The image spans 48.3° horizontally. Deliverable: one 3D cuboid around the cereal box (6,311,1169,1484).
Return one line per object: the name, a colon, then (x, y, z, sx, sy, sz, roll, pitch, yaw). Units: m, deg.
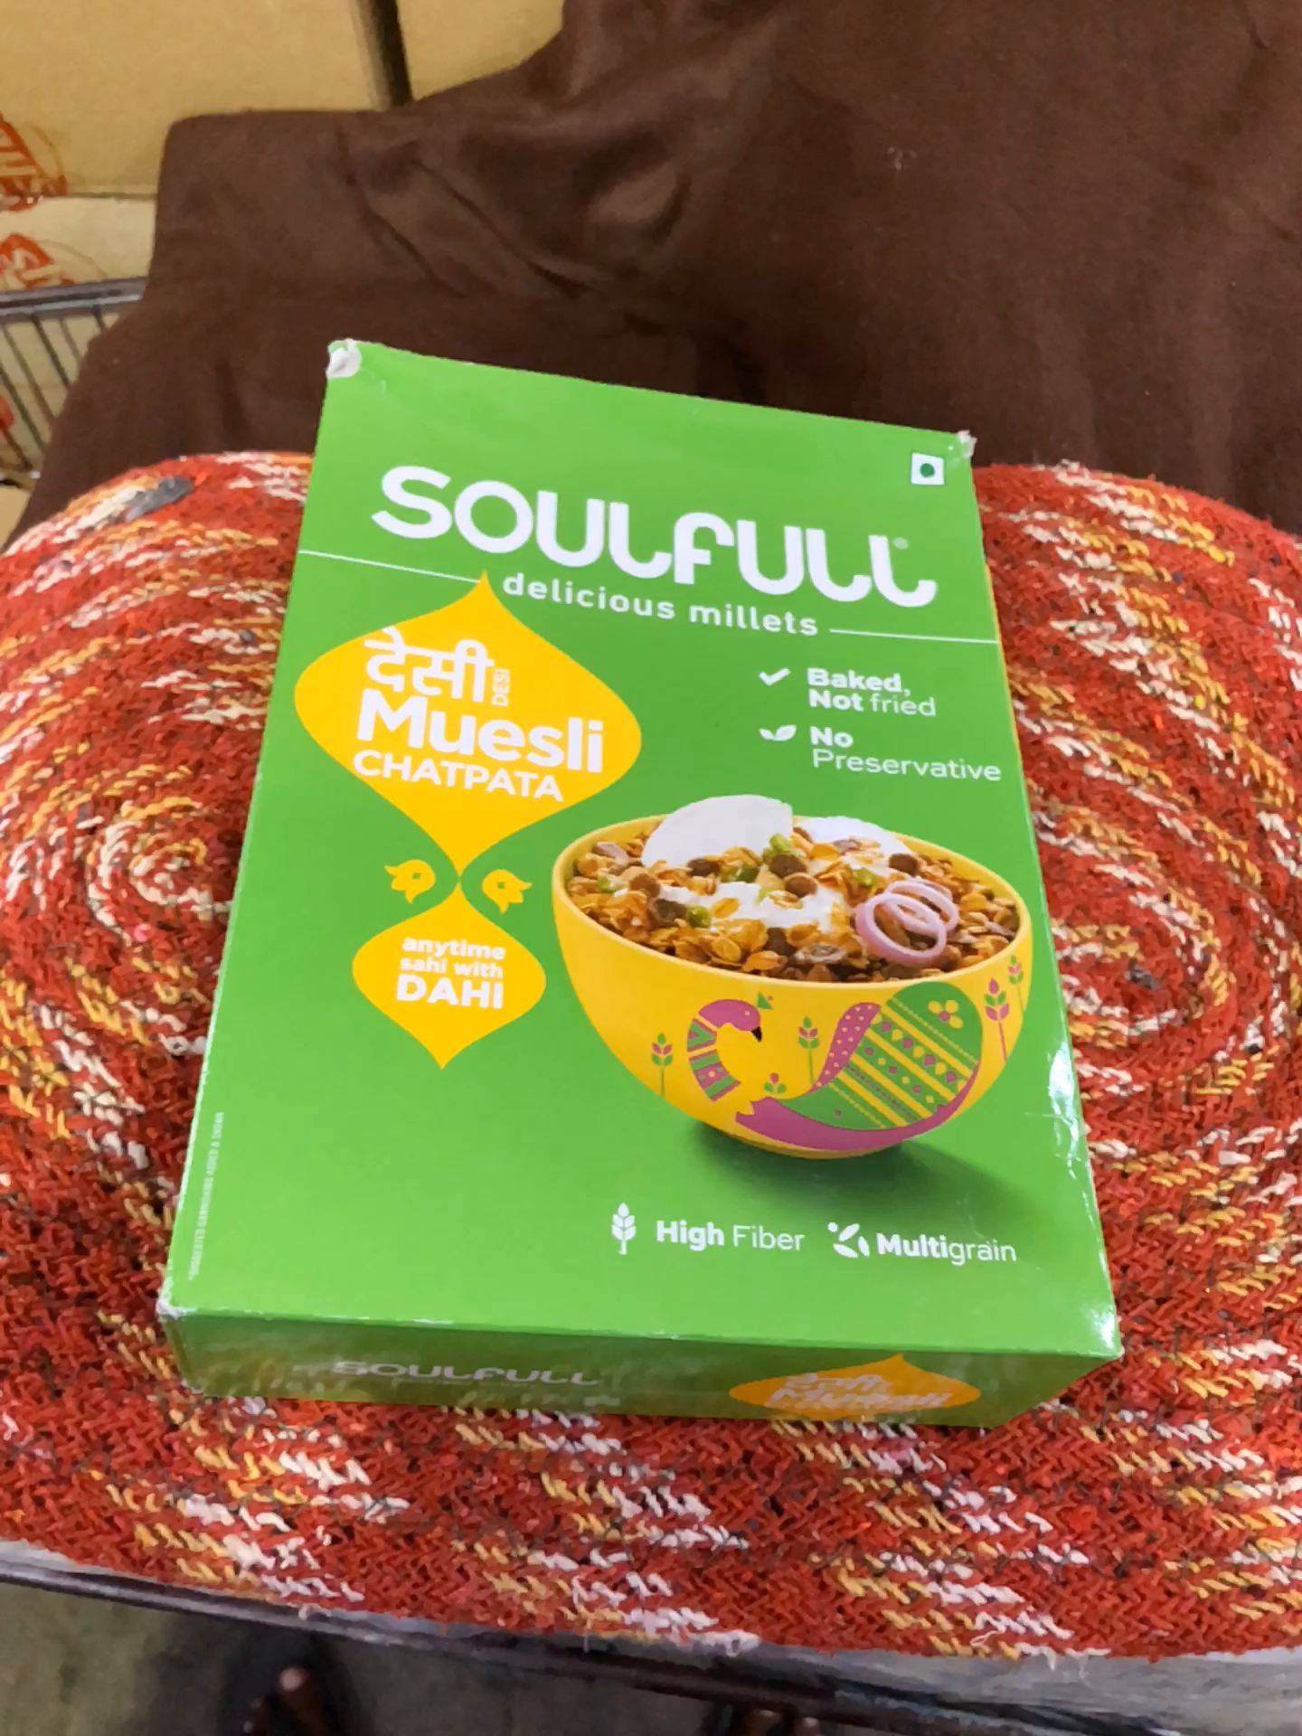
cereal box: (-0.009, -0.009, 0.306, 0.170, 0.060, 0.241, 5, 54, -7)
